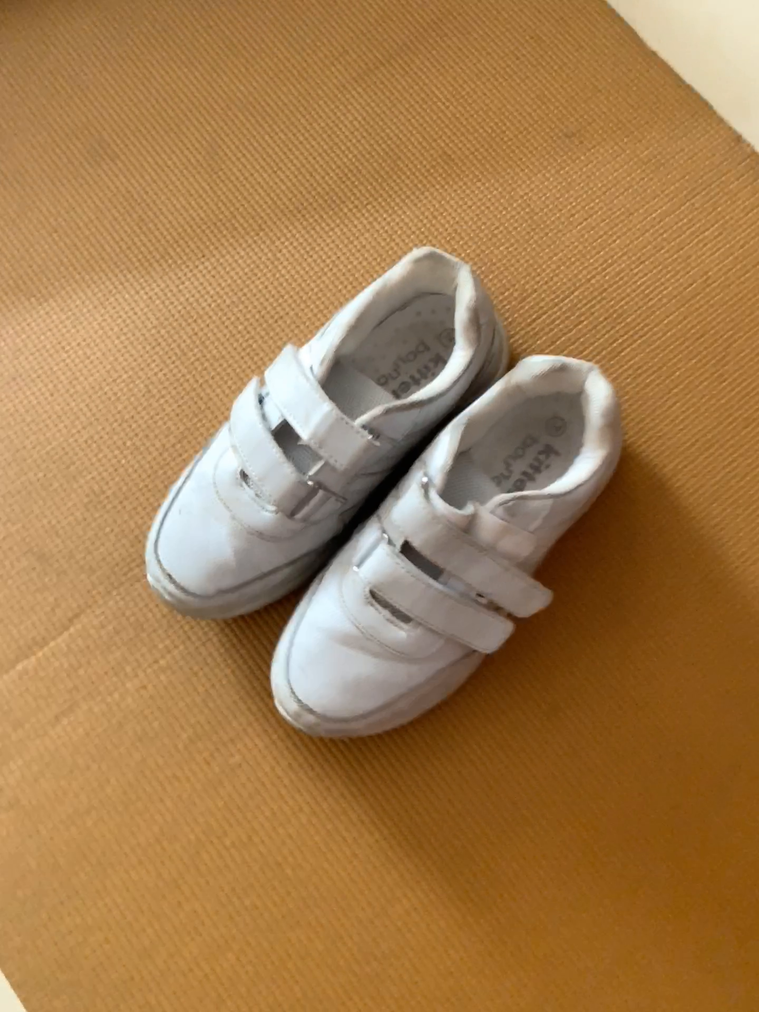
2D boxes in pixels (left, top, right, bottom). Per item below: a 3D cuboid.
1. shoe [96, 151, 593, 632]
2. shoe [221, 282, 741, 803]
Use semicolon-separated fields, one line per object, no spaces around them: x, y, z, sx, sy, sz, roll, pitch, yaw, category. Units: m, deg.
-0.013;-0.054;0.411;0.090;0.100;0.240;44;82;9;shoe
0.050;0.015;0.386;0.090;0.070;0.250;44;82;9;shoe
